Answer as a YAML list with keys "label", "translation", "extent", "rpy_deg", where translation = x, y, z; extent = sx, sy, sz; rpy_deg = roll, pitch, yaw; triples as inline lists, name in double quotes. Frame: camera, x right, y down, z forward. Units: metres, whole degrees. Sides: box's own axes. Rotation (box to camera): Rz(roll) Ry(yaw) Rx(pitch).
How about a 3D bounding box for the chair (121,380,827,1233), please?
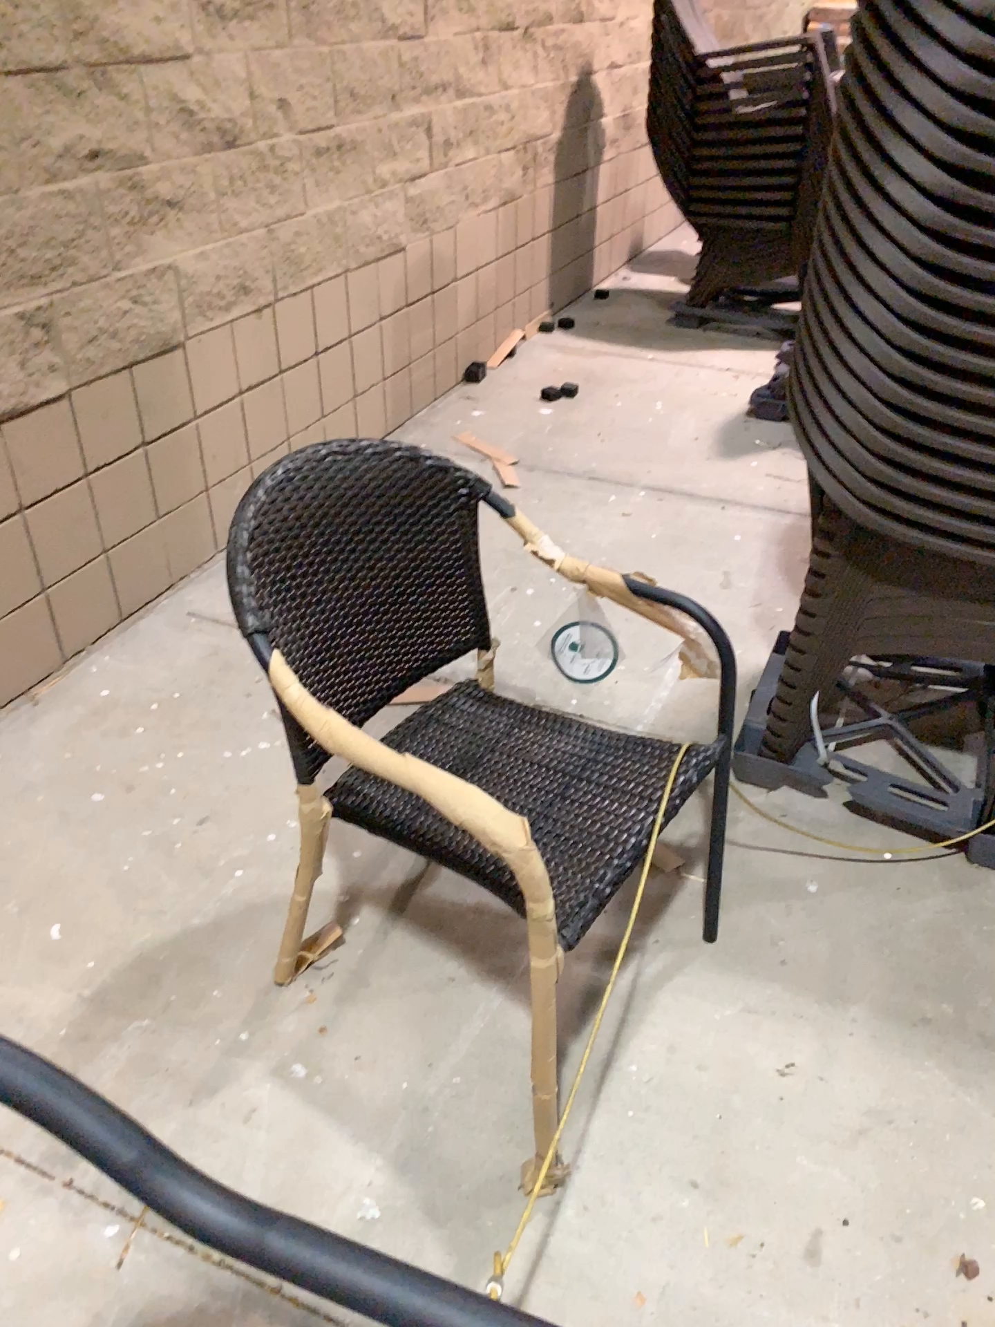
- label: "chair"
  translation: [-0.005, 0.153, 1.401]
  extent: [0.598, 0.840, 0.577]
  rpy_deg: [20, 38, 27]
